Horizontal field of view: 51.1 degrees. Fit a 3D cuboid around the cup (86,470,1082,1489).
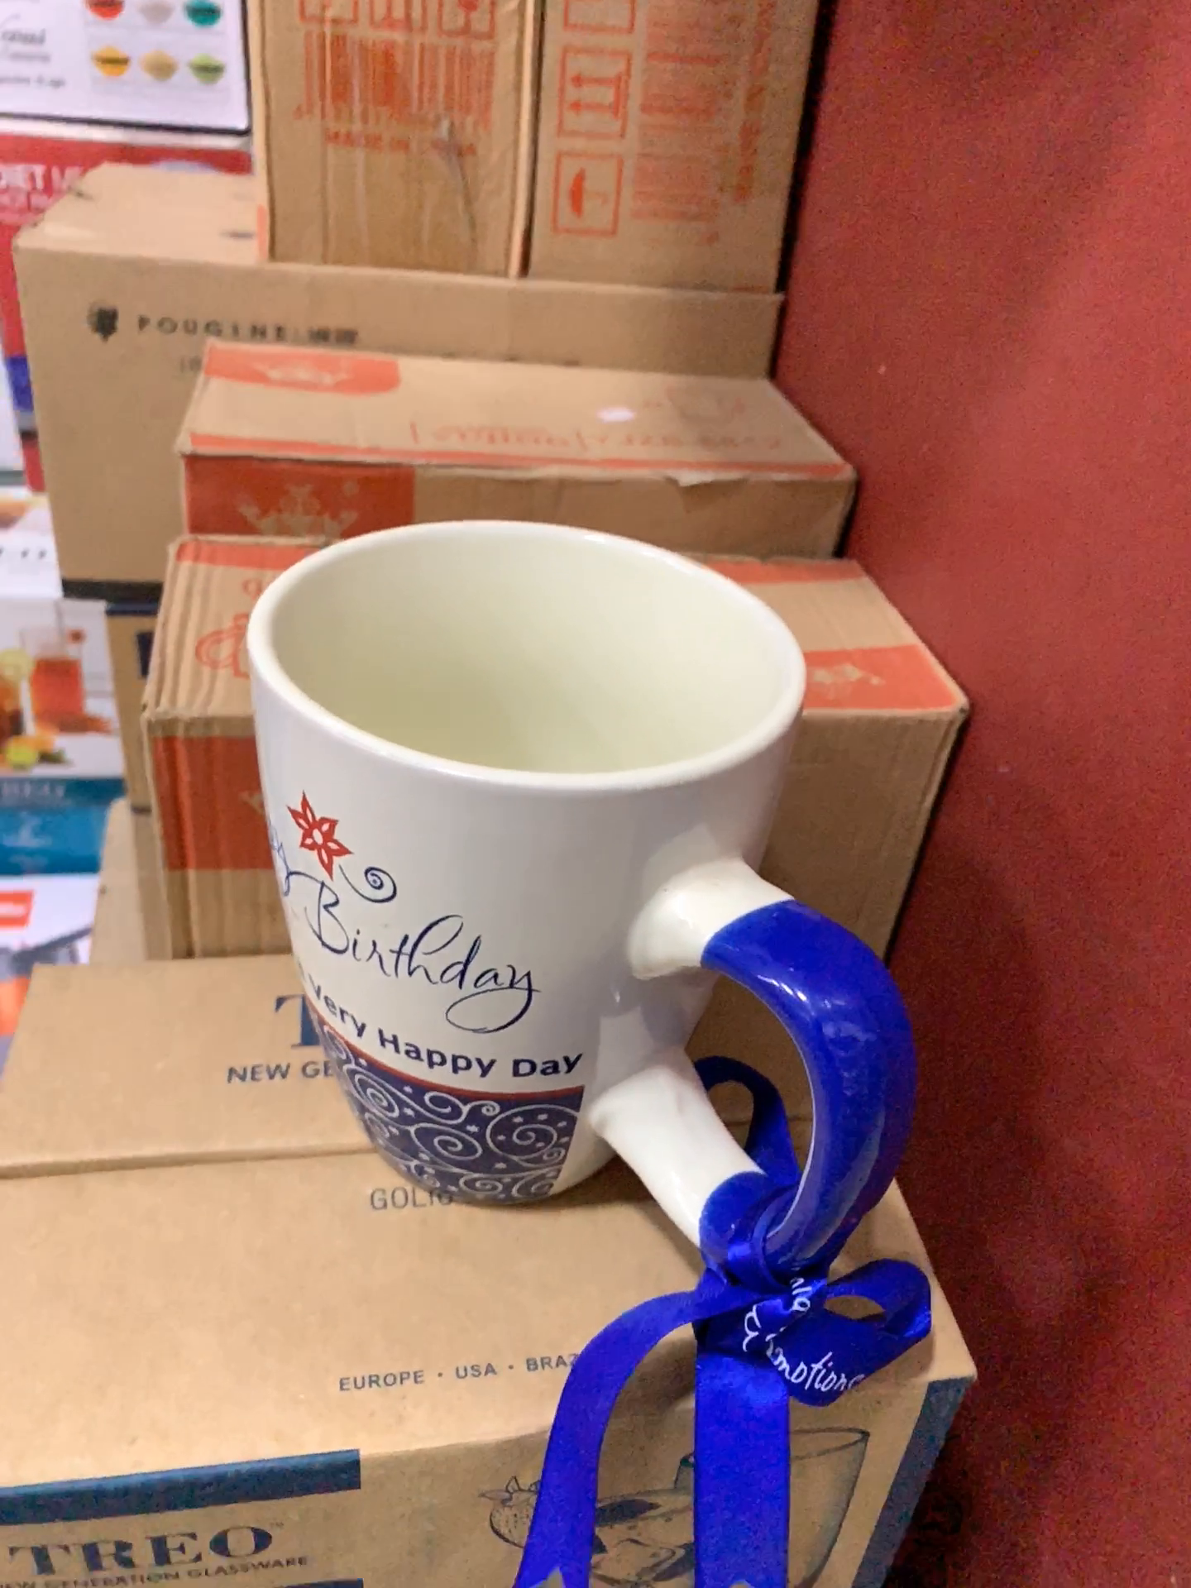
[{"bbox_3d":[-0.012,0.014,0.214,0.092,0.086,0.132,-20,42,-34],"label":"cup"}]
